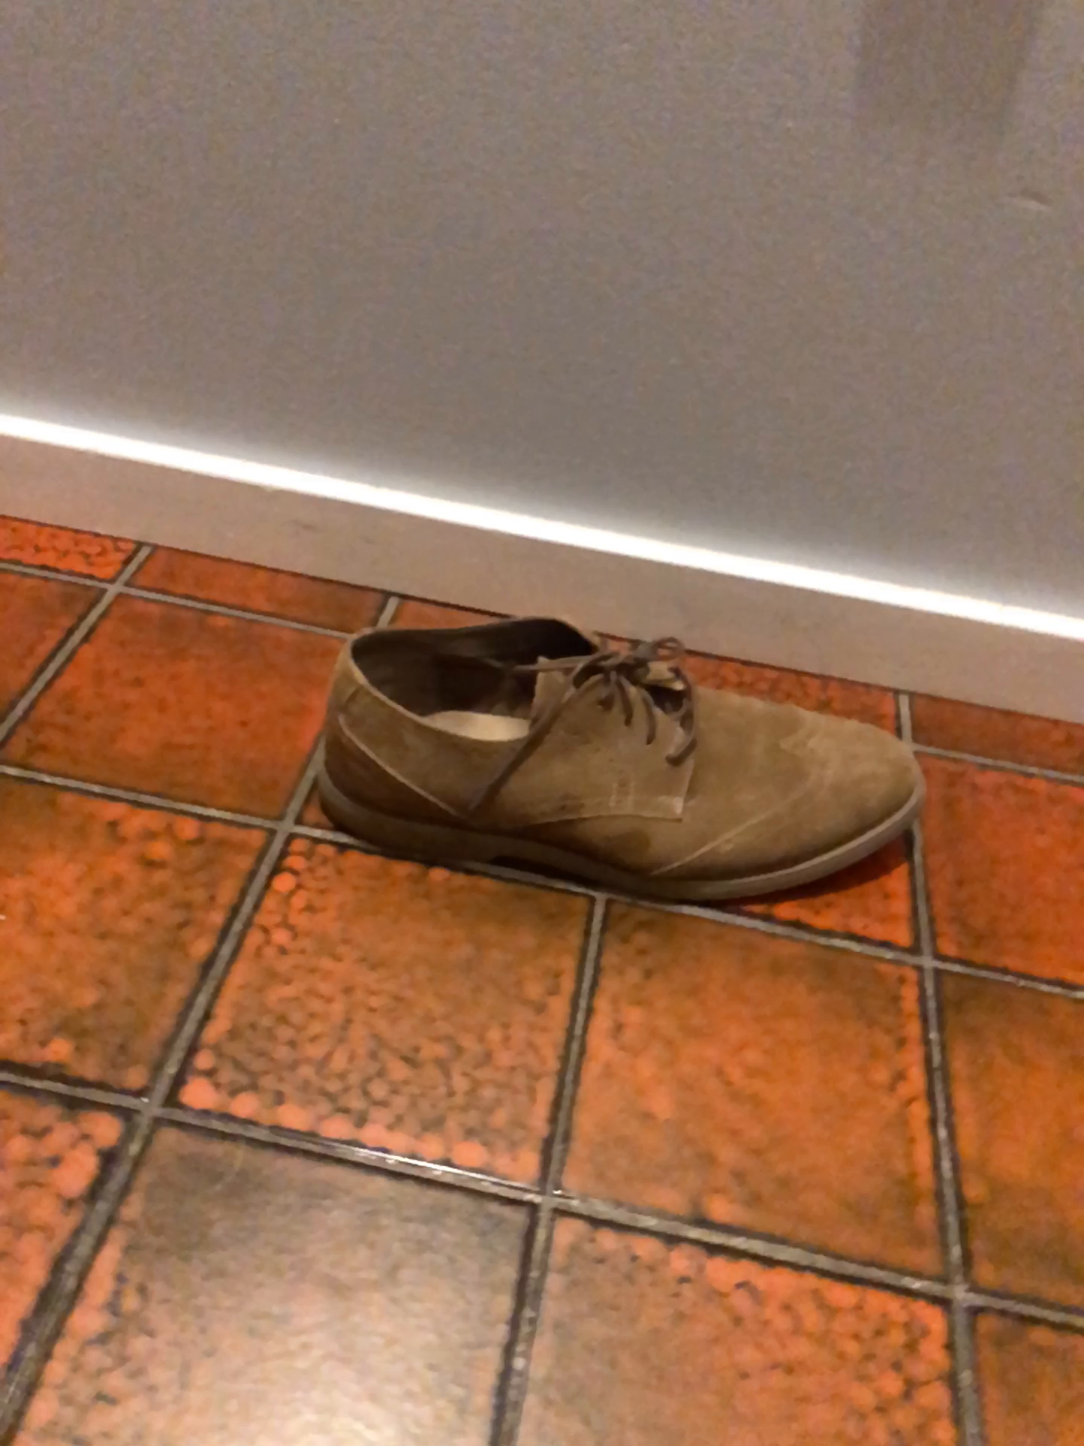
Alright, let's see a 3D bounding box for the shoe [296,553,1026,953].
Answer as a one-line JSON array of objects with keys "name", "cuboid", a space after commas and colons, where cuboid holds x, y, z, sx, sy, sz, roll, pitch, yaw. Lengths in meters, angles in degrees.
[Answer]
[{"name": "shoe", "cuboid": [0.047, 0.013, 0.565, 0.300, 0.100, 0.120, 7, 41, -3]}]
